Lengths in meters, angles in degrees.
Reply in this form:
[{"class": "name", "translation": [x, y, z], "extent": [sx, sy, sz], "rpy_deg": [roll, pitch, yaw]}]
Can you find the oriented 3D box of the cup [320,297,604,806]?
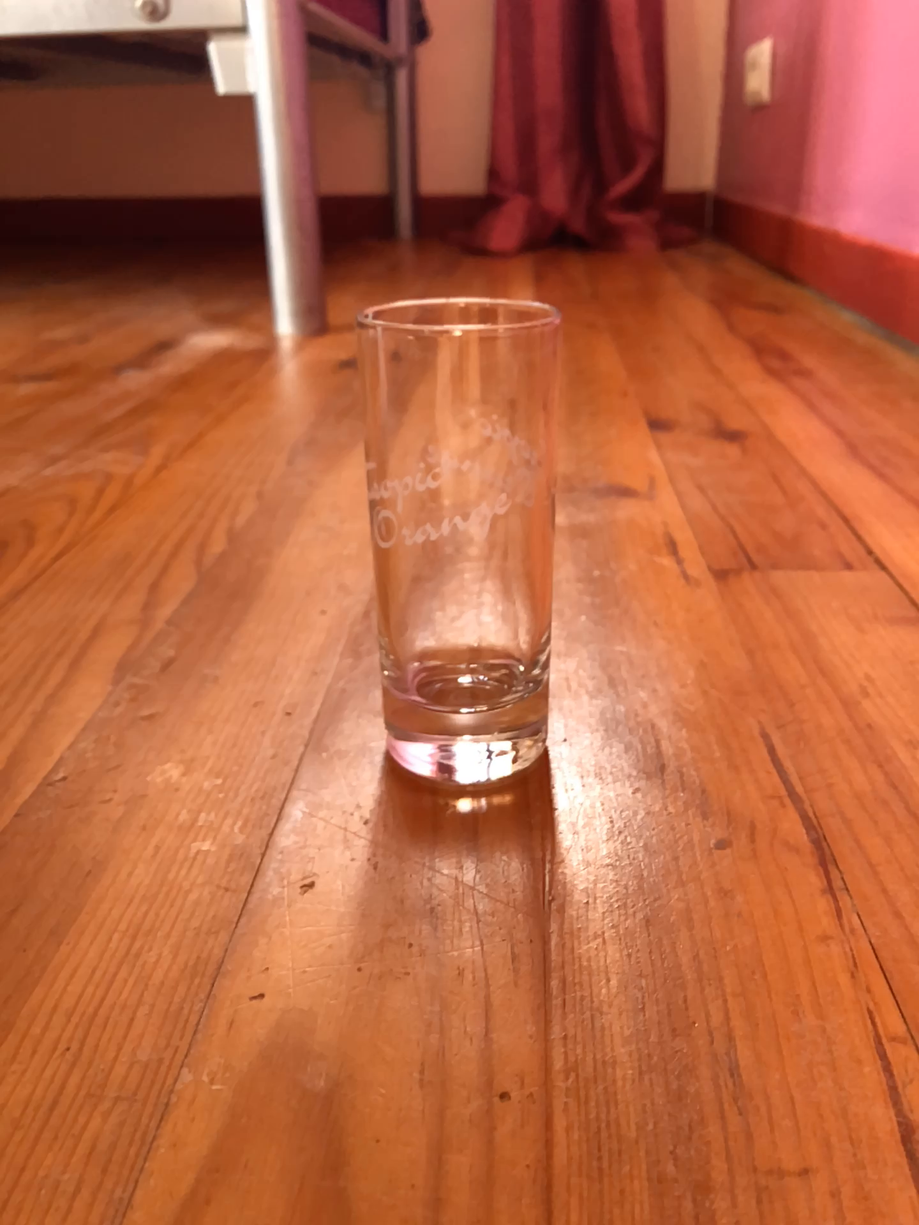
[{"class": "cup", "translation": [0.004, -0.020, 0.283], "extent": [0.056, 0.124, 0.056], "rpy_deg": [-2, 22, 1]}]
